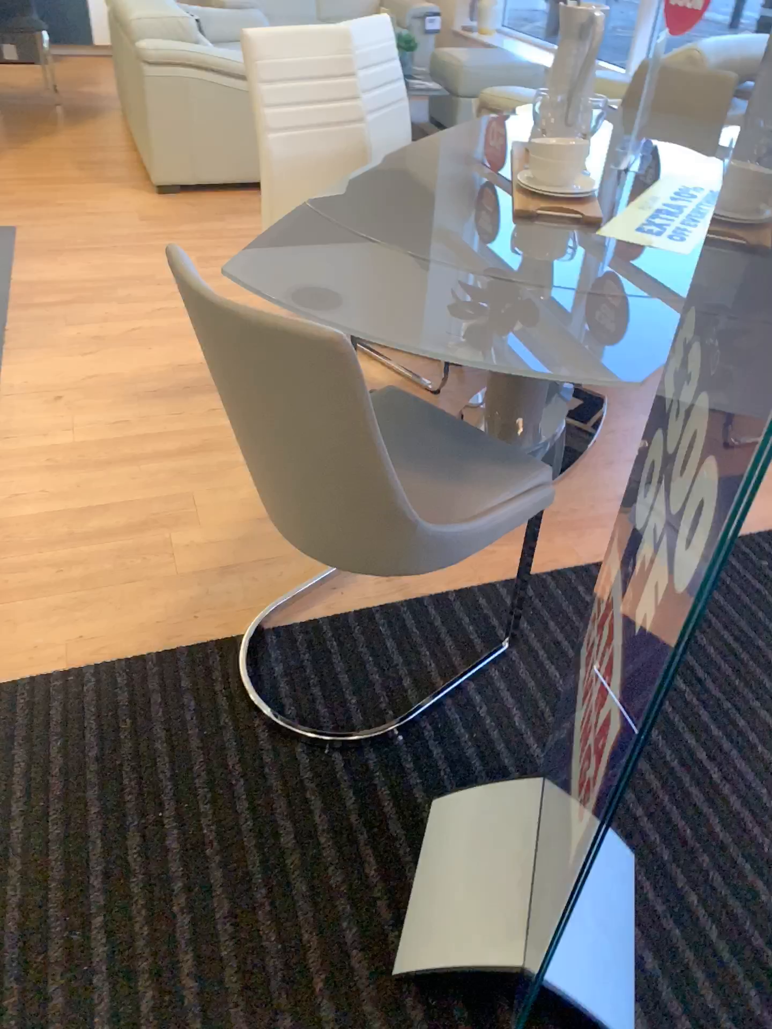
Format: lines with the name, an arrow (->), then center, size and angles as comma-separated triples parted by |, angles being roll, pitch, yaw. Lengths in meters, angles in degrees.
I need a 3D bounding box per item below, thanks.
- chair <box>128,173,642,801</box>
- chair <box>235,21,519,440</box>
chair -> -0.010, -0.071, 1.433 | 0.509, 0.846, 0.592 | 31, 45, 30
chair -> -0.061, -0.877, 2.427 | 0.509, 1.024, 0.593 | -26, 47, -33
